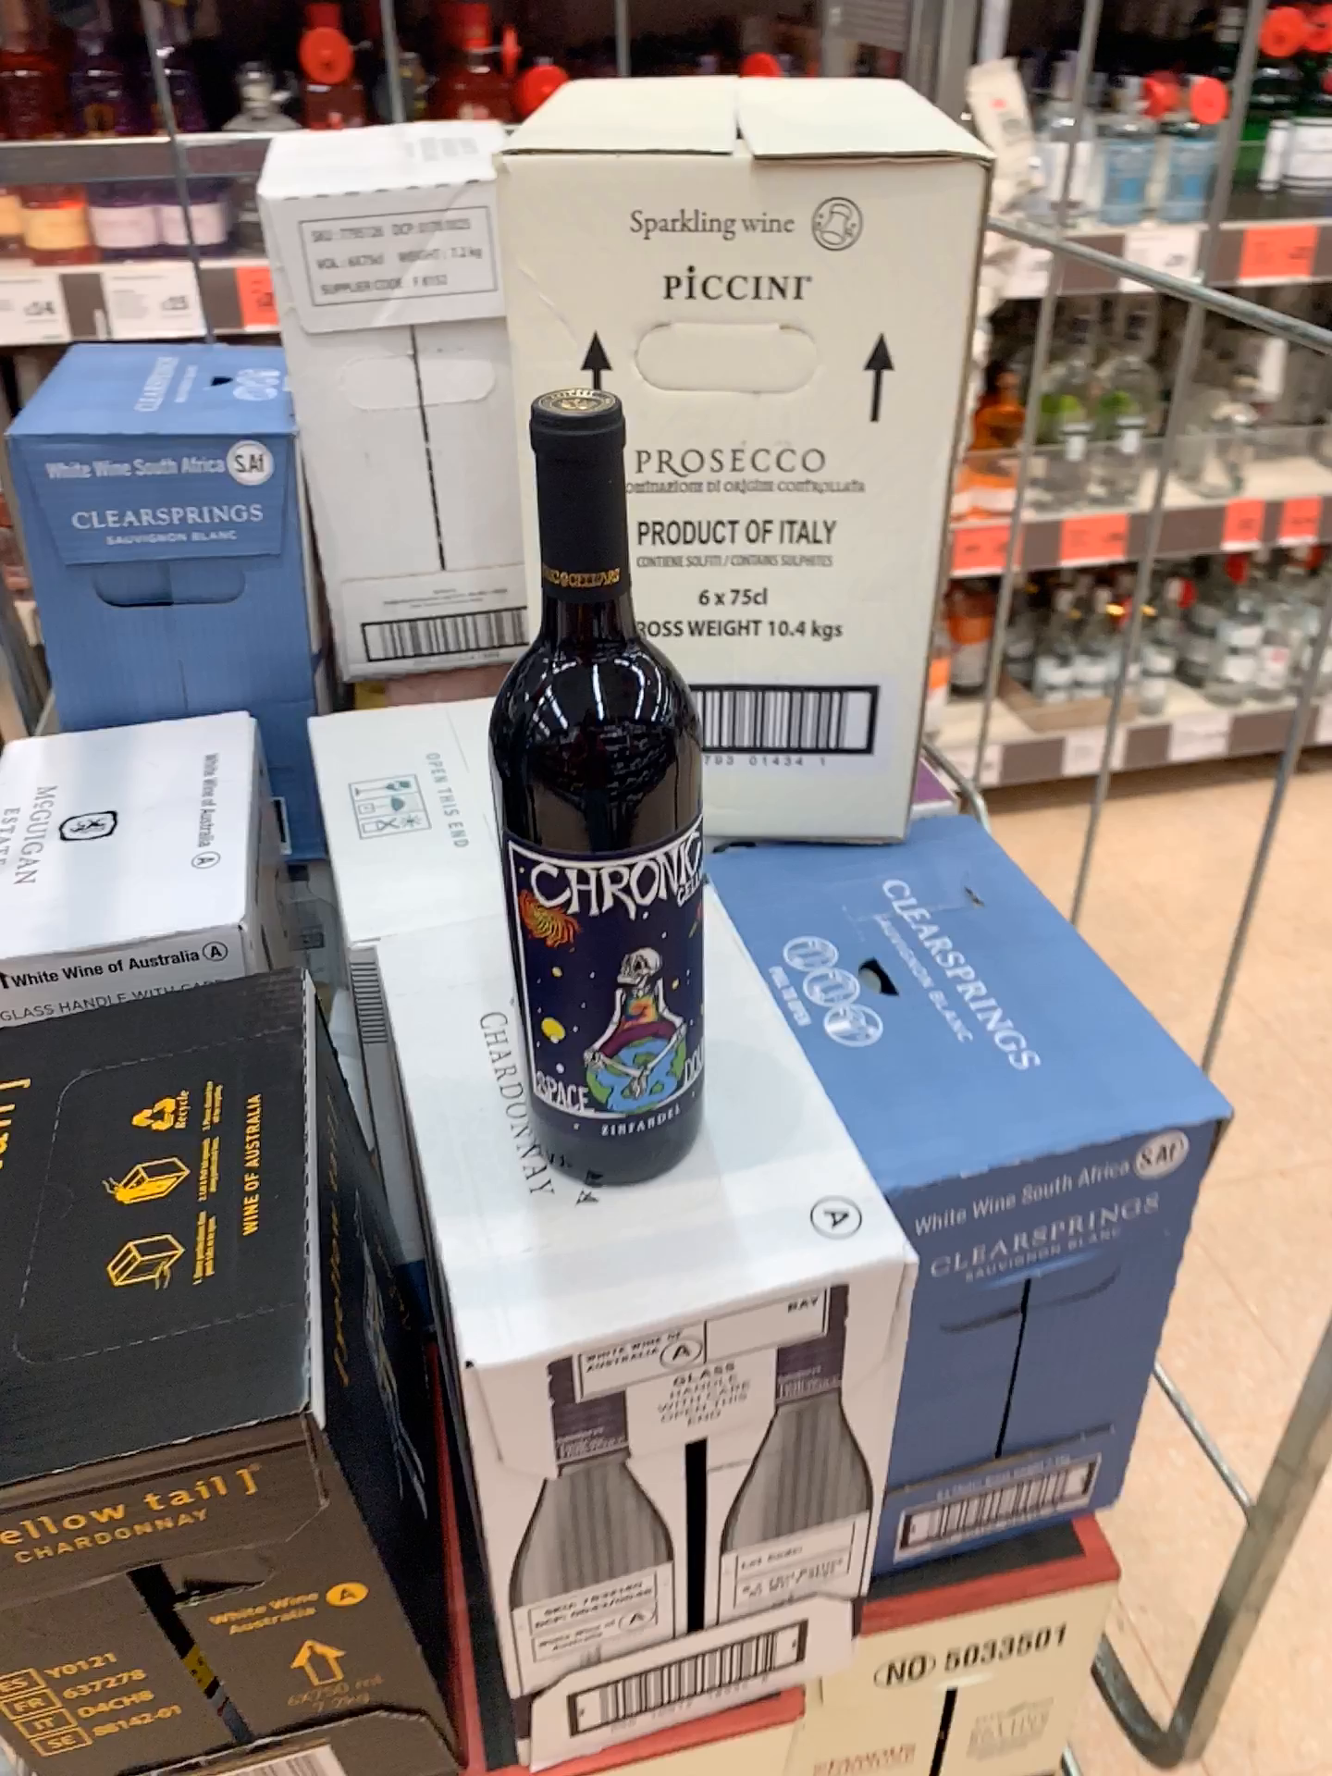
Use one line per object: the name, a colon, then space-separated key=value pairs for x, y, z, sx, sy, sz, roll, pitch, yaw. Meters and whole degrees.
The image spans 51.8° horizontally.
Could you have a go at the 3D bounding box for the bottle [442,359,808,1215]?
bottle: x=-0.015 y=-0.026 z=0.487 sx=0.085 sy=0.284 sz=0.085 roll=0 pitch=34 yaw=0
